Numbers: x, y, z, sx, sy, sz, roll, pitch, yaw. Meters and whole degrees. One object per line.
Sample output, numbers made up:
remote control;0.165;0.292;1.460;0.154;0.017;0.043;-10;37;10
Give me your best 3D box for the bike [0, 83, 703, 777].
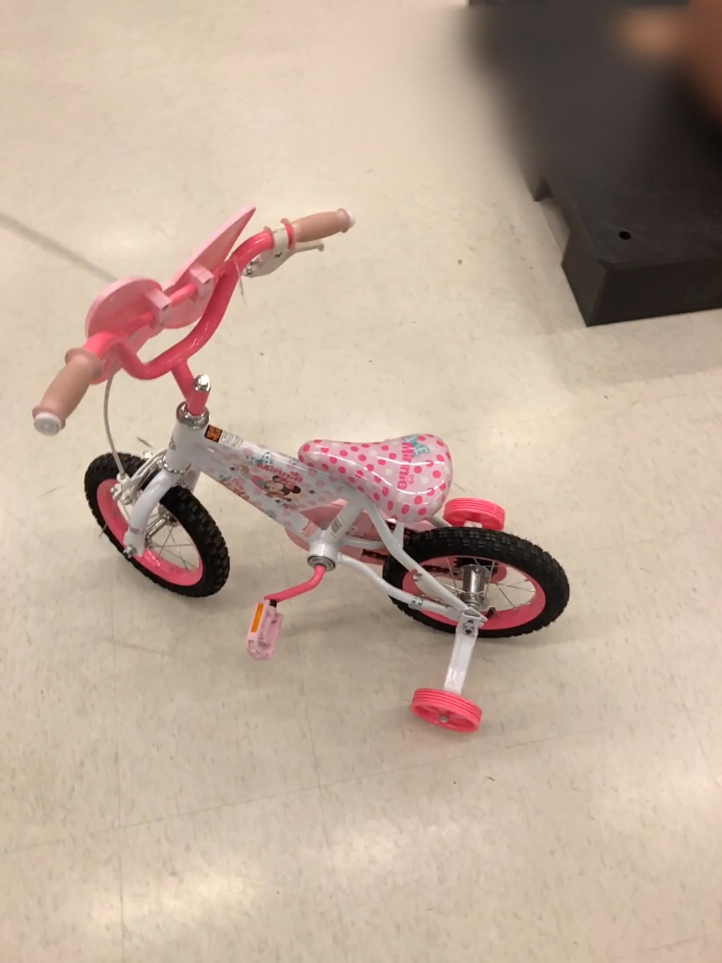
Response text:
bike;-0.058;-0.022;1.086;0.773;0.681;0.512;12;59;7
